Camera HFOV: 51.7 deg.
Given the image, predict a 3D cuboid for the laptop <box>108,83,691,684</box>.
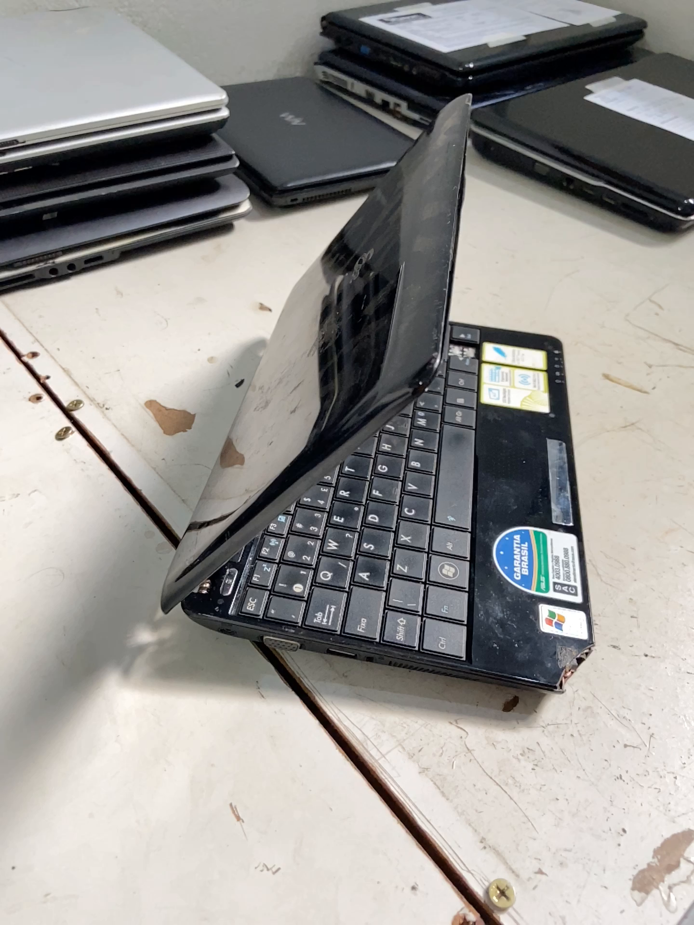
[{"bbox_3d":[0.035,-0.061,0.346,0.167,0.137,0.263,10,43,5],"label":"laptop"}]
